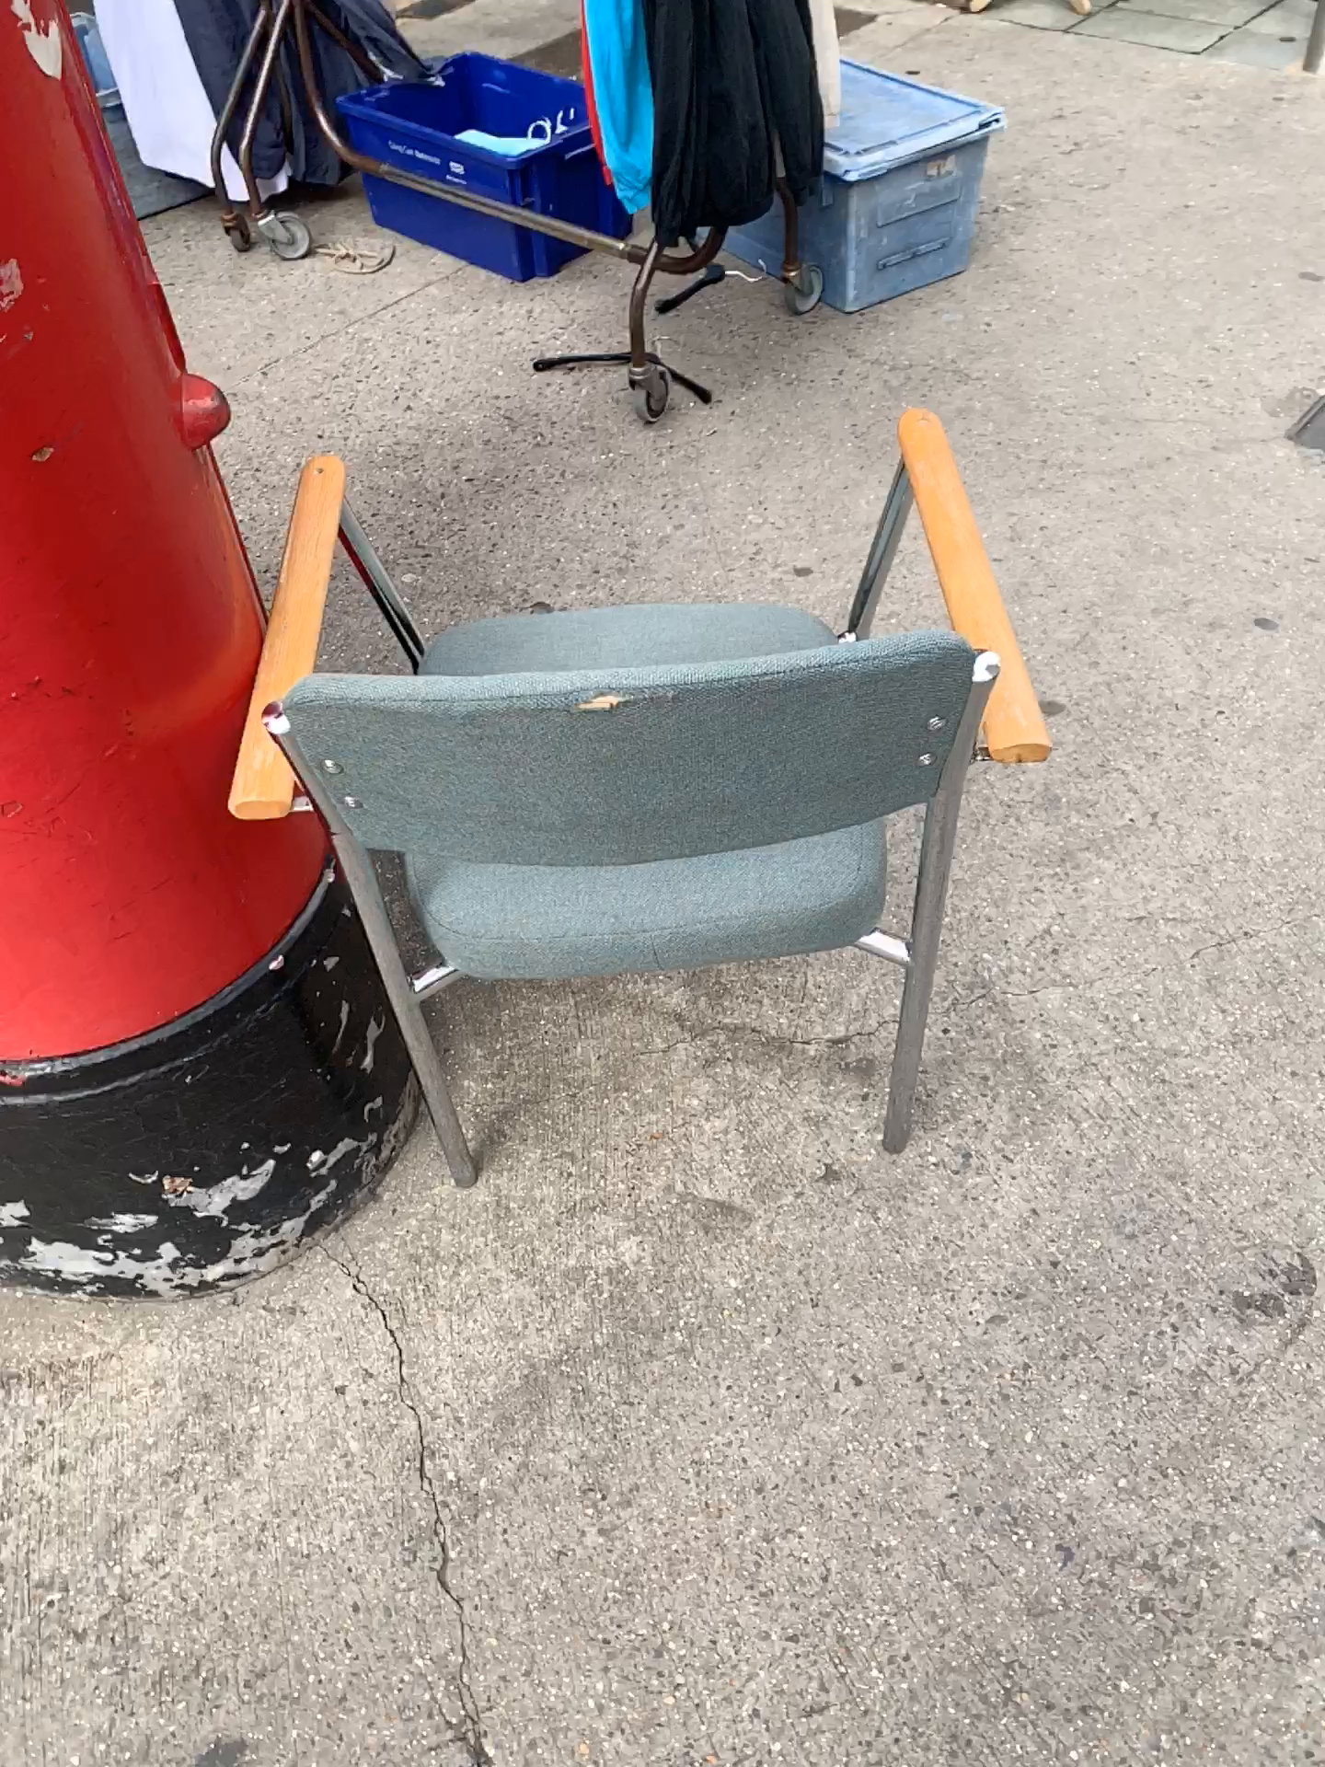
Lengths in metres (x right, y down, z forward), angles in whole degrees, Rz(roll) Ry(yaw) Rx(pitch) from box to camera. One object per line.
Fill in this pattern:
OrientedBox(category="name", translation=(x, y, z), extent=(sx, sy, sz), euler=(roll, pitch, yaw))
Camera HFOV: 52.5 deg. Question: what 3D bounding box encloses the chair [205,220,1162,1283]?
OrientedBox(category="chair", translation=(0.020, -0.093, 1.246), extent=(0.557, 0.740, 0.575), euler=(-5, 47, 0))
